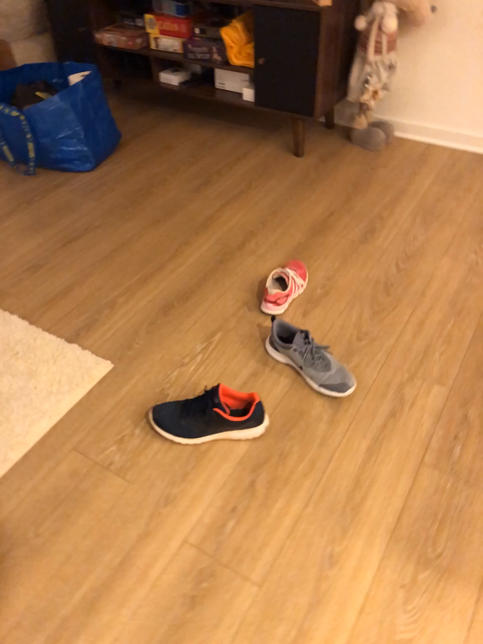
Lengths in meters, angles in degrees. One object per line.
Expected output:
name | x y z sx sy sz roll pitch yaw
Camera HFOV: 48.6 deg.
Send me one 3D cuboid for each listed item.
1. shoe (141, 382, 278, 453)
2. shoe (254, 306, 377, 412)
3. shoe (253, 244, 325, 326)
shoe | -0.074 0.237 1.328 0.320 0.099 0.131 -2 42 0
shoe | 0.194 0.092 1.460 0.131 0.080 0.321 -34 51 -30
shoe | 0.157 -0.125 1.721 0.130 0.089 0.282 17 46 20
